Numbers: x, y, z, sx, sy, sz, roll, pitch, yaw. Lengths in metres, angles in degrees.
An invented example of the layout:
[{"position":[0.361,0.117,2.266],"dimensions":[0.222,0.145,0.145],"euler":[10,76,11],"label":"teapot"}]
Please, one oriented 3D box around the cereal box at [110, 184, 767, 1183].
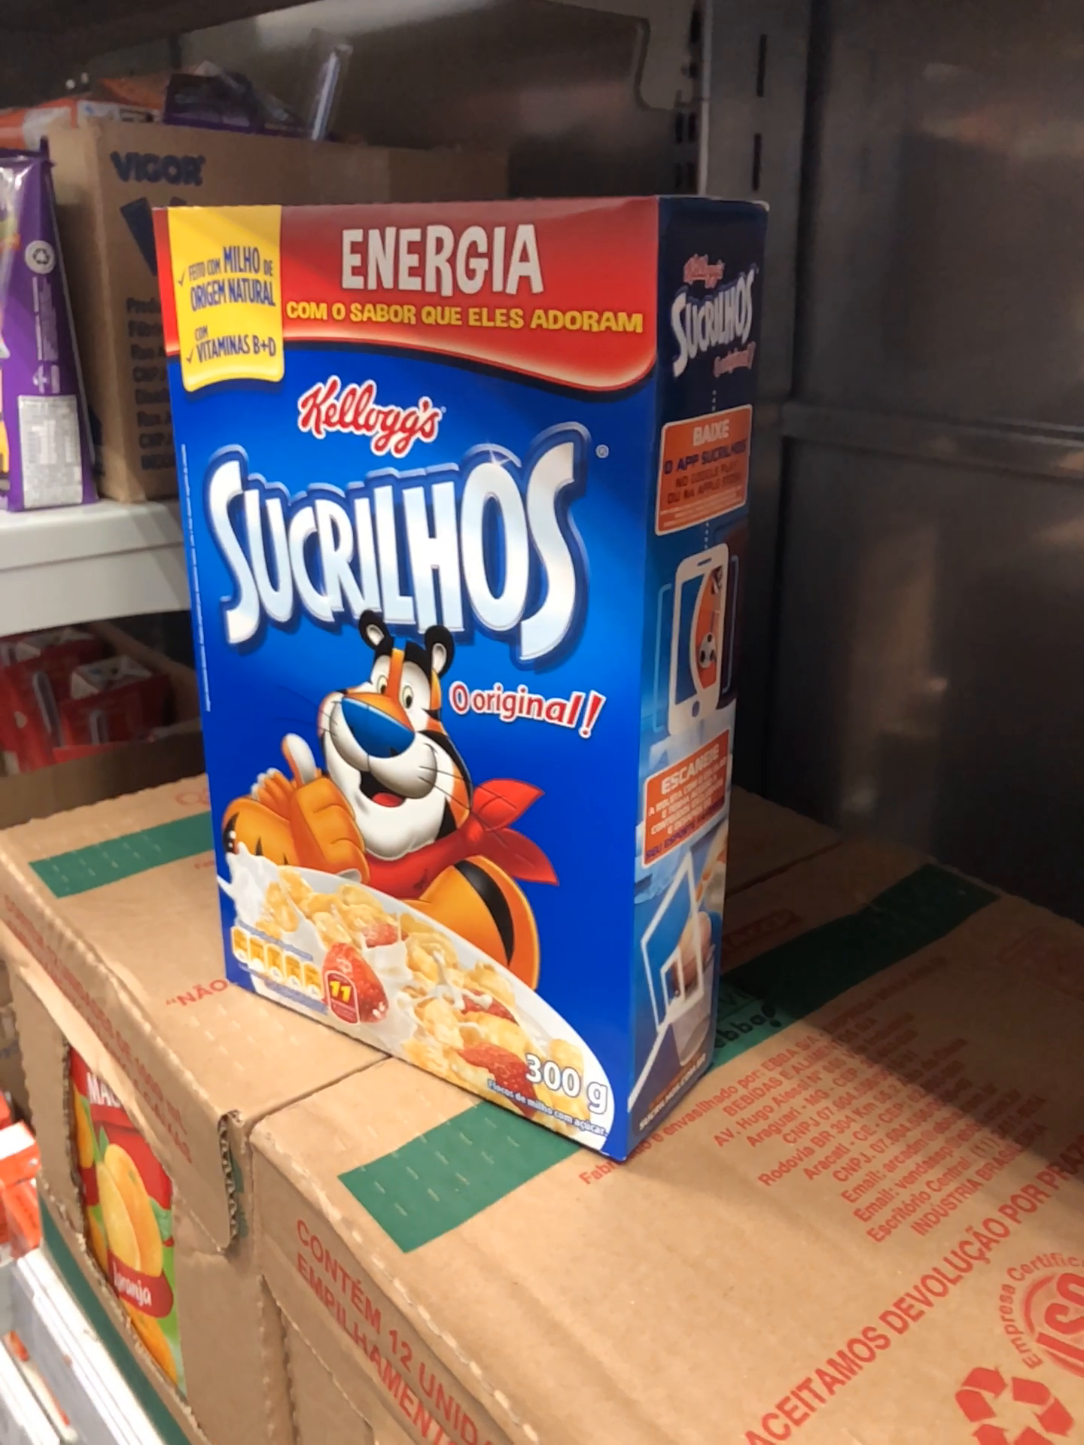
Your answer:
[{"position":[-0.031,-0.018,0.353],"dimensions":[0.170,0.248,0.060],"euler":[14,25,33],"label":"cereal box"}]
